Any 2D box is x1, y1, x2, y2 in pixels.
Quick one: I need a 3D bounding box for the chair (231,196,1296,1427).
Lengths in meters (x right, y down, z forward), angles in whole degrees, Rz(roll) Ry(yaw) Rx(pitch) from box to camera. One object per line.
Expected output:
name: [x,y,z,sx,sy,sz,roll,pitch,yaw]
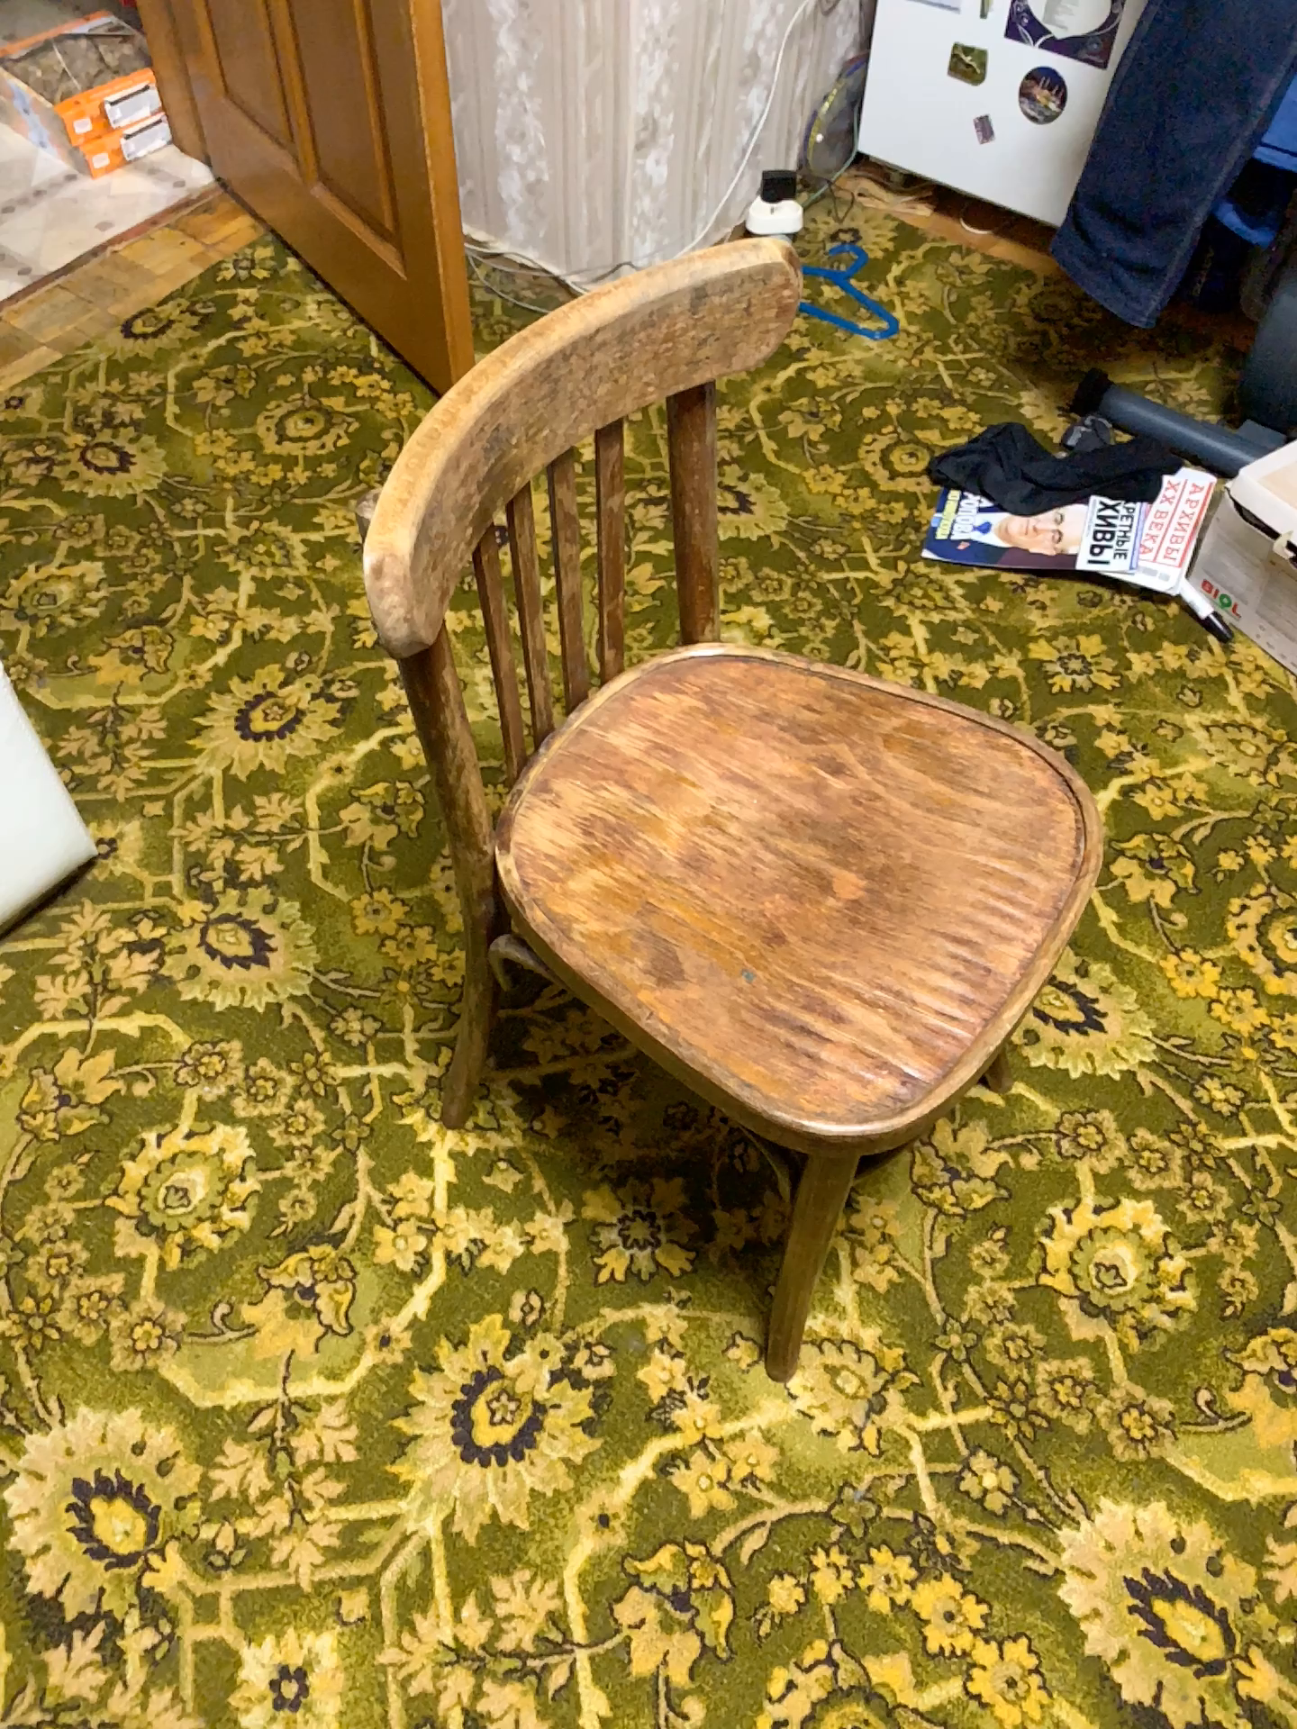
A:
chair: [0.073,0.024,0.971,0.411,0.735,0.401,35,61,21]
